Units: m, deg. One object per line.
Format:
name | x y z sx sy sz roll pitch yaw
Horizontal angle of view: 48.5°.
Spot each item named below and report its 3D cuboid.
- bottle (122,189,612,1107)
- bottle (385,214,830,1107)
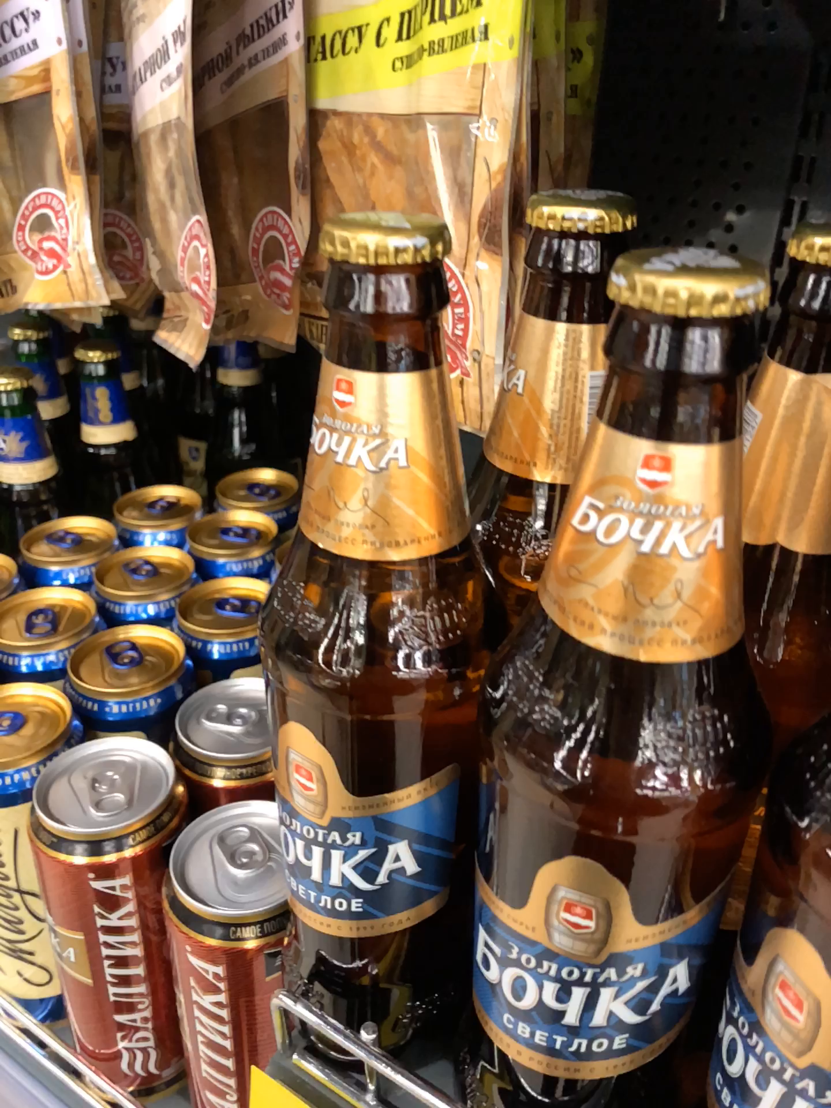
bottle | -0.011 0.036 0.242 0.070 0.234 0.070 1 28 0
bottle | 0.037 0.054 0.206 0.070 0.234 0.060 11 30 17
